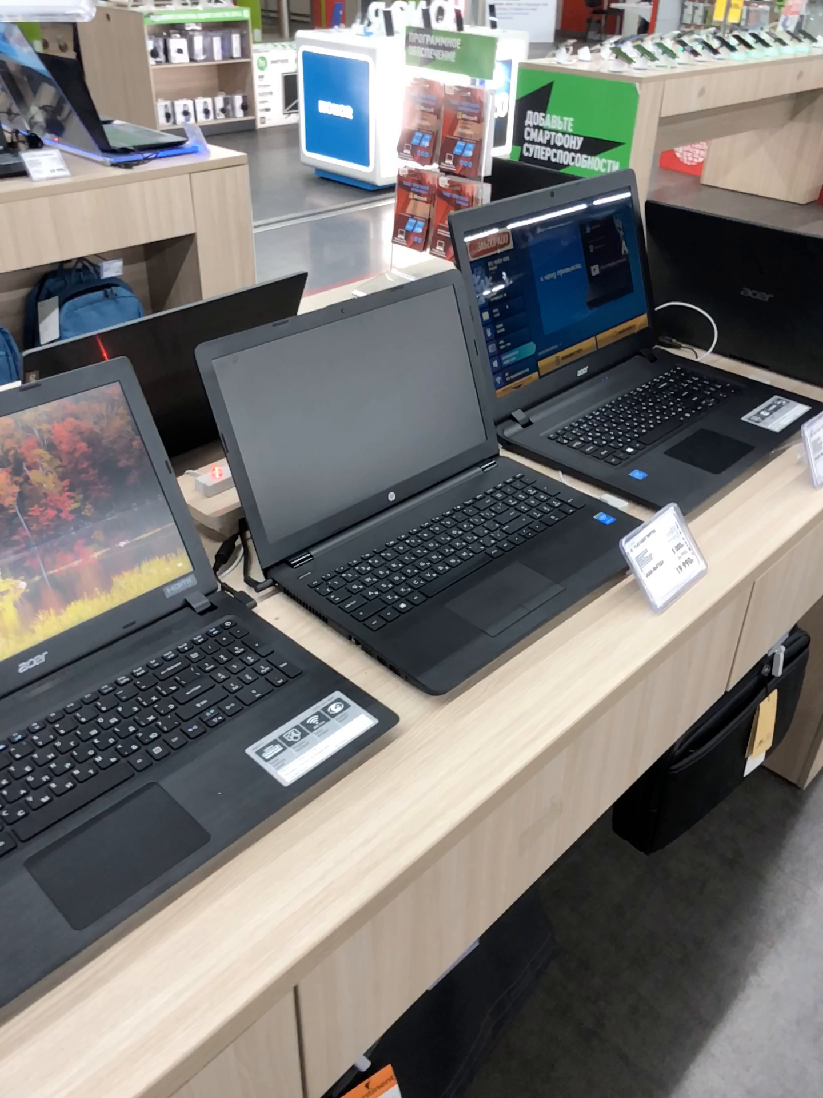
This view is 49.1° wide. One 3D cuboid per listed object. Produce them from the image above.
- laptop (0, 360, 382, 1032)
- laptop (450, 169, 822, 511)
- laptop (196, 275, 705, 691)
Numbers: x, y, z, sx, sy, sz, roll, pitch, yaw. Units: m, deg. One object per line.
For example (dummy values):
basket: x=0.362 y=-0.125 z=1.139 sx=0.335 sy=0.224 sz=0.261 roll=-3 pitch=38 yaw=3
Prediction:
laptop: x=-0.260 y=0.054 z=0.705 sx=0.351 sy=0.226 sz=0.360 roll=28 pitch=41 yaw=35
laptop: x=0.331 y=-0.317 z=1.232 sx=0.398 sy=0.267 sz=0.396 roll=-29 pitch=43 yaw=-36
laptop: x=0.043 y=-0.104 z=0.960 sx=0.334 sy=0.215 sz=0.378 roll=30 pitch=43 yaw=34
